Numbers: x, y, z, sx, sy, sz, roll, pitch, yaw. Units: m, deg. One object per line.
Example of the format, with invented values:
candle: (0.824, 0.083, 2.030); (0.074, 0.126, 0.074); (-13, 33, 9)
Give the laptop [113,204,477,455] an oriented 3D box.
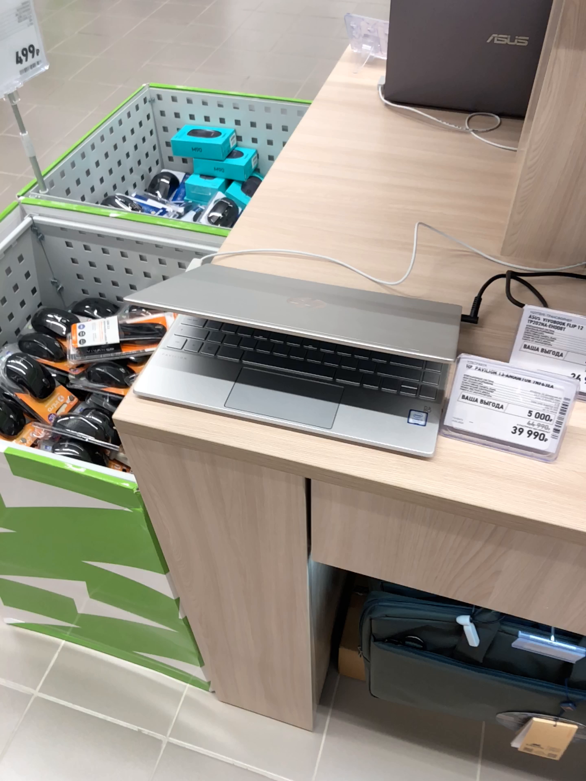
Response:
laptop: (0.011, -0.078, 0.685); (0.322, 0.095, 0.206); (12, 51, 13)
